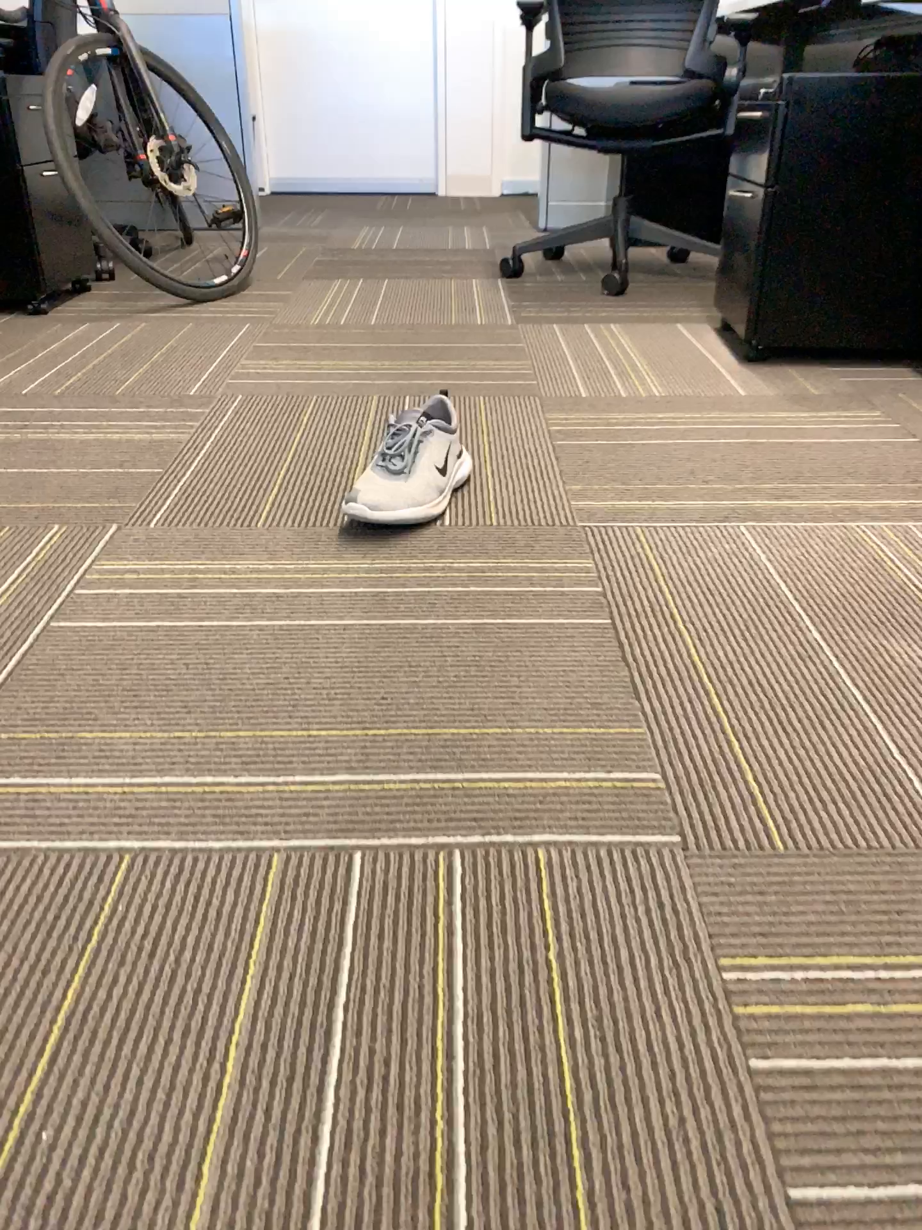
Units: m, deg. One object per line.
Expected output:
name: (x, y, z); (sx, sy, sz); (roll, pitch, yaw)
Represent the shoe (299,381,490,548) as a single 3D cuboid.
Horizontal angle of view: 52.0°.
shoe: (-0.079, -0.222, 1.316); (0.160, 0.109, 0.332); (8, 30, 14)
